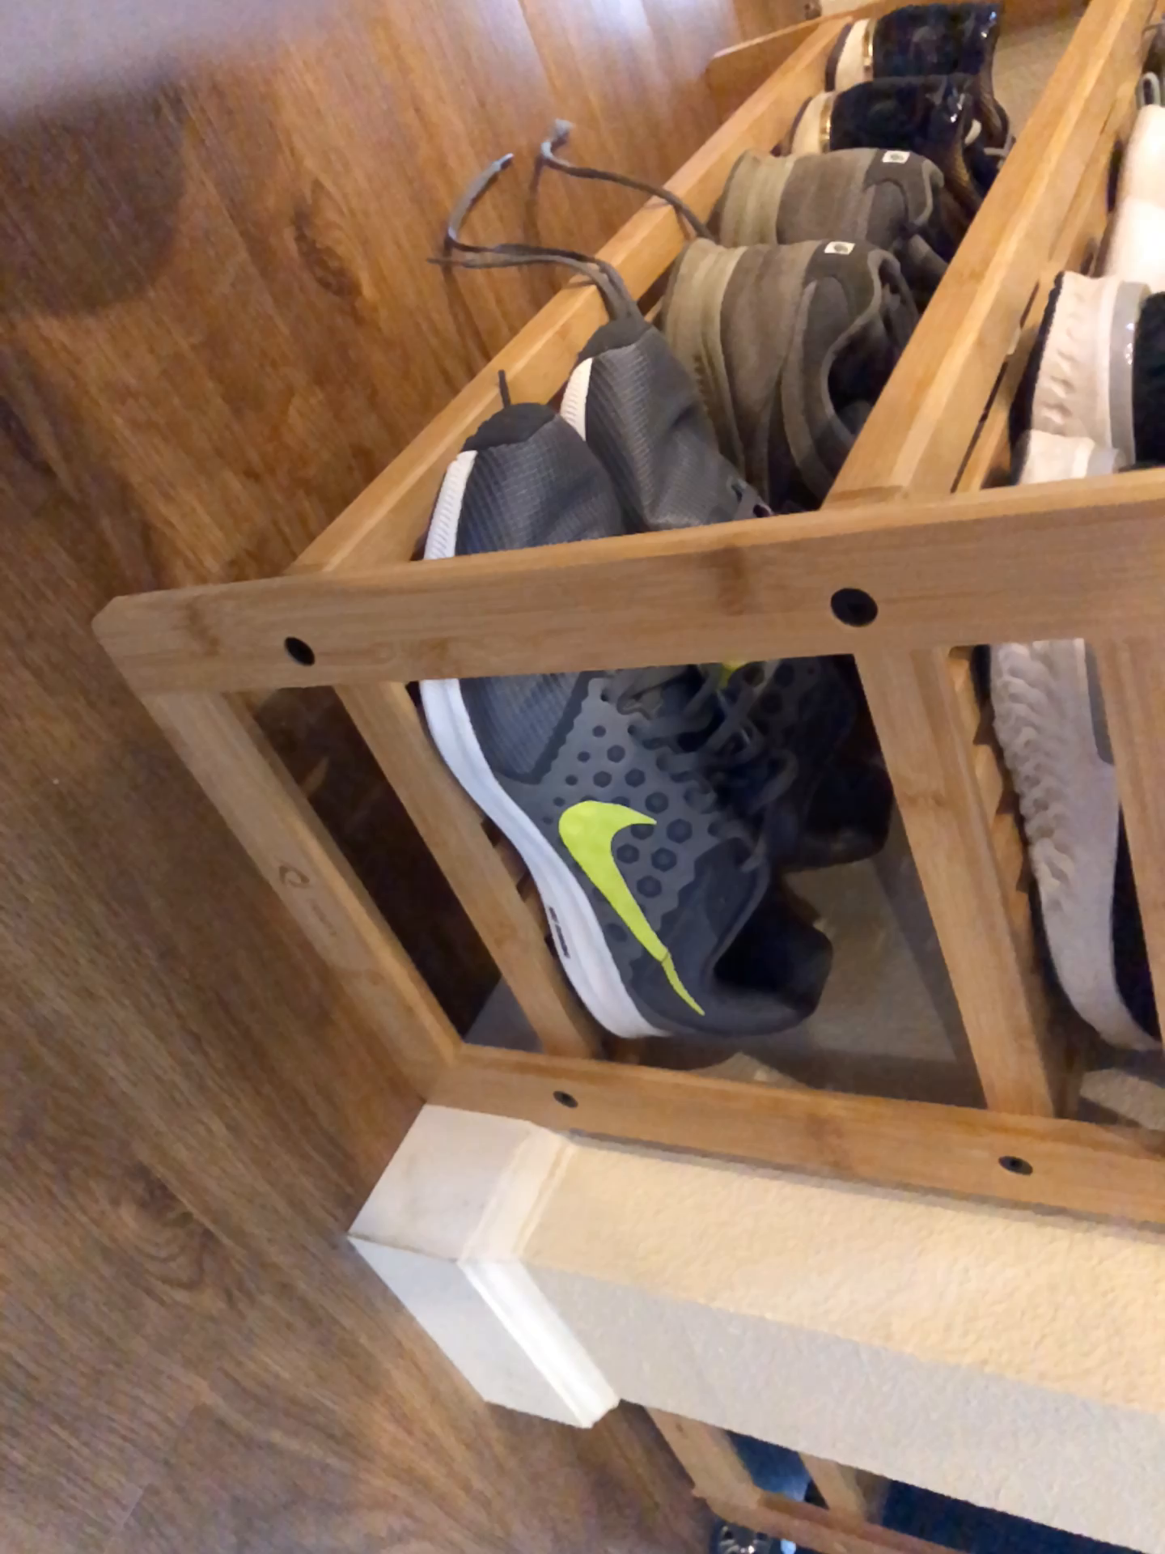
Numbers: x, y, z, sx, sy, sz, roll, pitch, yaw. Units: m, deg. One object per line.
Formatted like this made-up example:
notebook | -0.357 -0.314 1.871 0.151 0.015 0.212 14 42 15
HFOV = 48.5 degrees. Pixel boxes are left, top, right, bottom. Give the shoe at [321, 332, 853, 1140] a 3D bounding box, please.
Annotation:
shoe | 0.023 -0.002 0.528 0.120 0.070 0.311 -58 135 -40

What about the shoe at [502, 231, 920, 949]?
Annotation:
shoe | 0.076 -0.070 0.600 0.110 0.070 0.311 -58 135 -40
